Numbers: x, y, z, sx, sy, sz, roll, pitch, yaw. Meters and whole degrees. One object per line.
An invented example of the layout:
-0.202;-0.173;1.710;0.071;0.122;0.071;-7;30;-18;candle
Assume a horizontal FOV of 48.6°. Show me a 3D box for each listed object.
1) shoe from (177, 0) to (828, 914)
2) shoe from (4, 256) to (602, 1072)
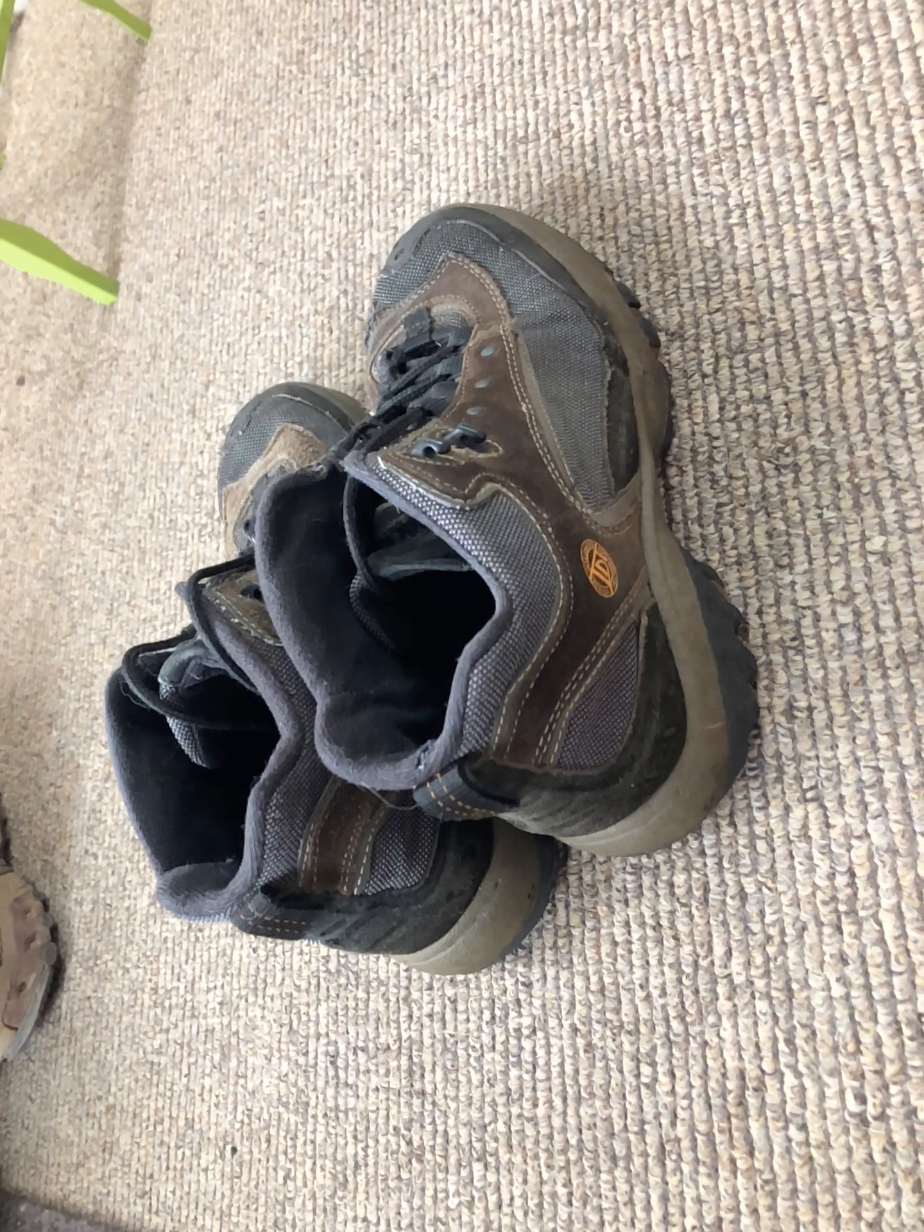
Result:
0.000;-0.053;0.361;0.118;0.137;0.280;-29;58;32;shoe
-0.079;0.012;0.412;0.116;0.135;0.281;-40;53;25;shoe
